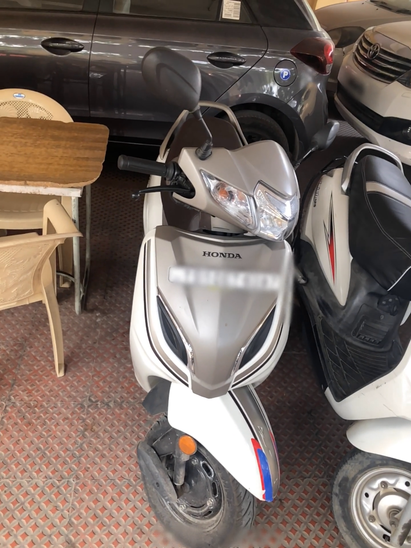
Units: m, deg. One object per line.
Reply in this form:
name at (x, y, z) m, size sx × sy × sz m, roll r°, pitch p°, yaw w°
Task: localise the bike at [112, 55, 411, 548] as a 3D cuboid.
bike at (0.012, 0.008, 1.604) m, size 0.626 × 0.850 × 1.463 m, roll 2°, pitch 44°, yaw -11°
